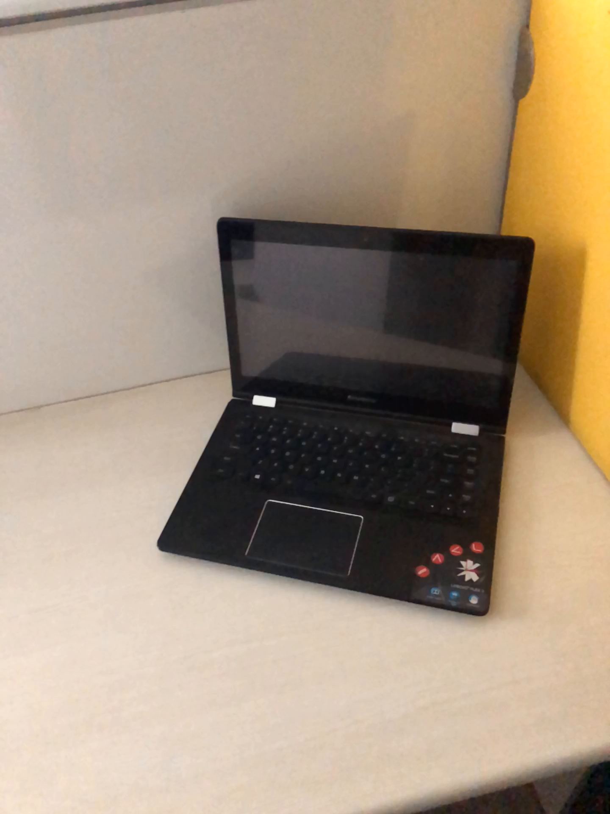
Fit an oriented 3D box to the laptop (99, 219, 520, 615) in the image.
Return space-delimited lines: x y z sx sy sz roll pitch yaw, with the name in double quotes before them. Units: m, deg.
"laptop" 0.029 -0.006 0.658 0.311 0.225 0.265 9 45 14
